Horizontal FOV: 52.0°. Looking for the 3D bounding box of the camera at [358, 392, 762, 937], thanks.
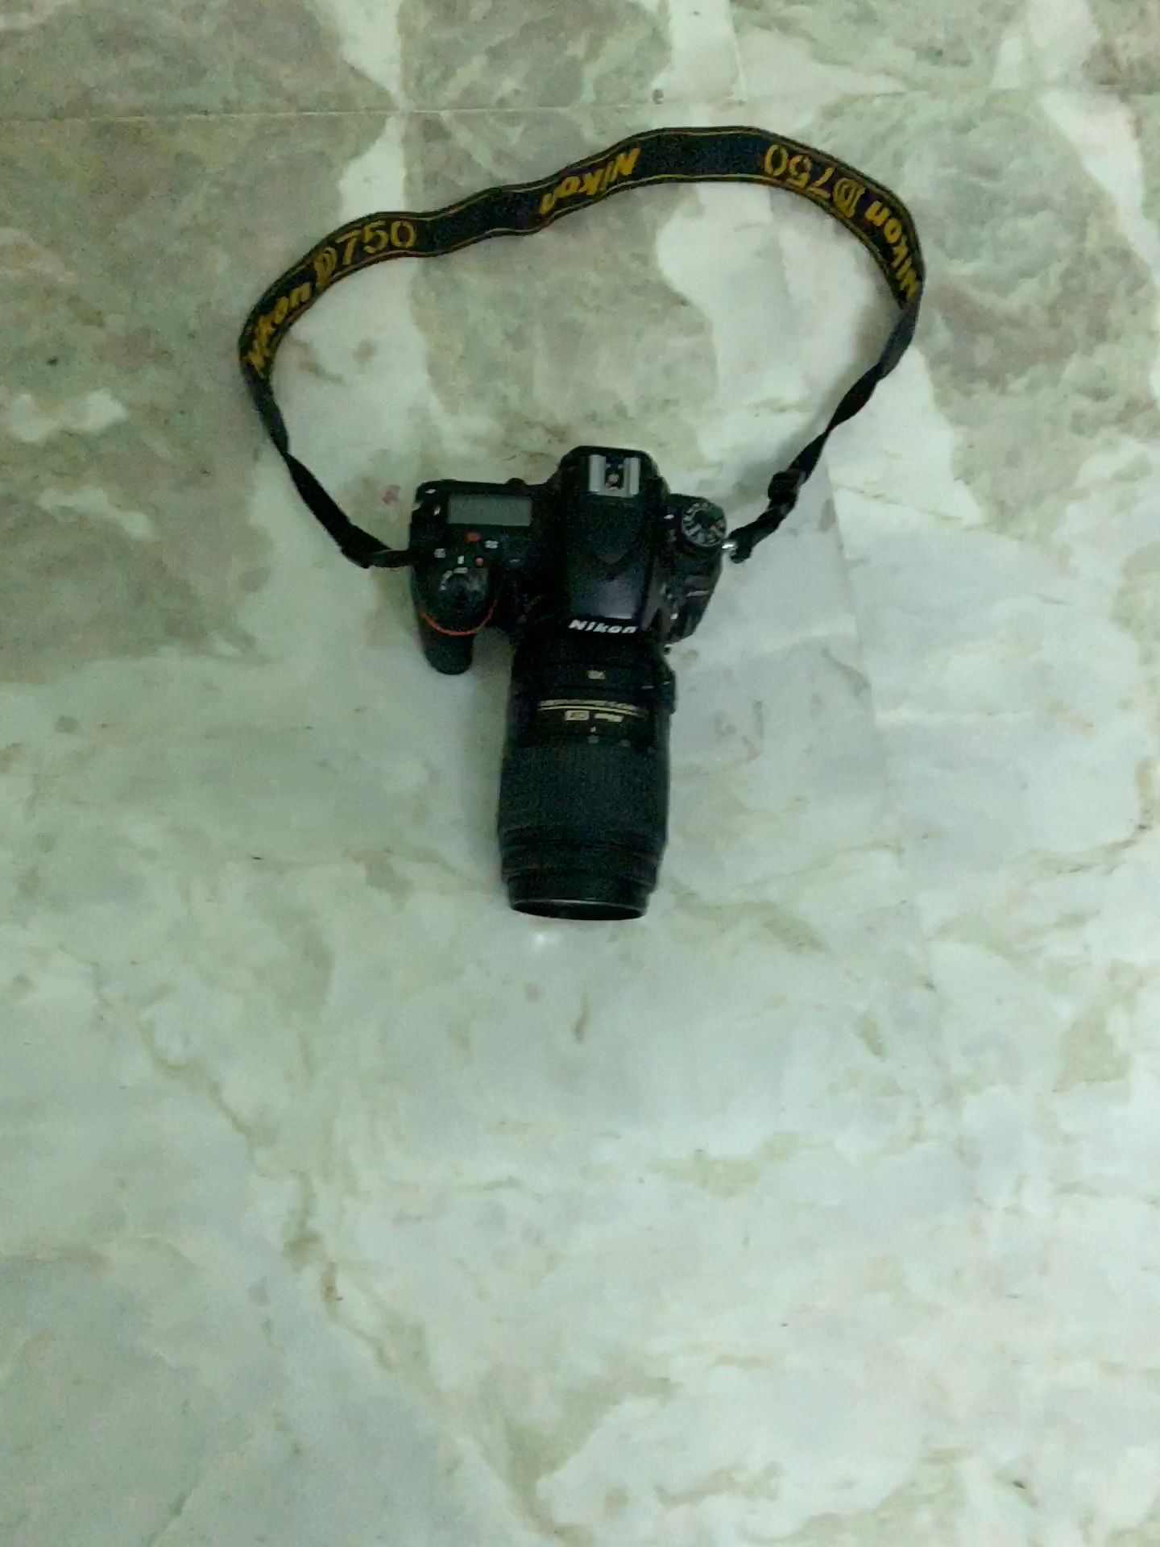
[{"bbox_3d":[-0.007,-0.042,0.528,0.150,0.120,0.200,4,72,-3],"label":"camera"}]
